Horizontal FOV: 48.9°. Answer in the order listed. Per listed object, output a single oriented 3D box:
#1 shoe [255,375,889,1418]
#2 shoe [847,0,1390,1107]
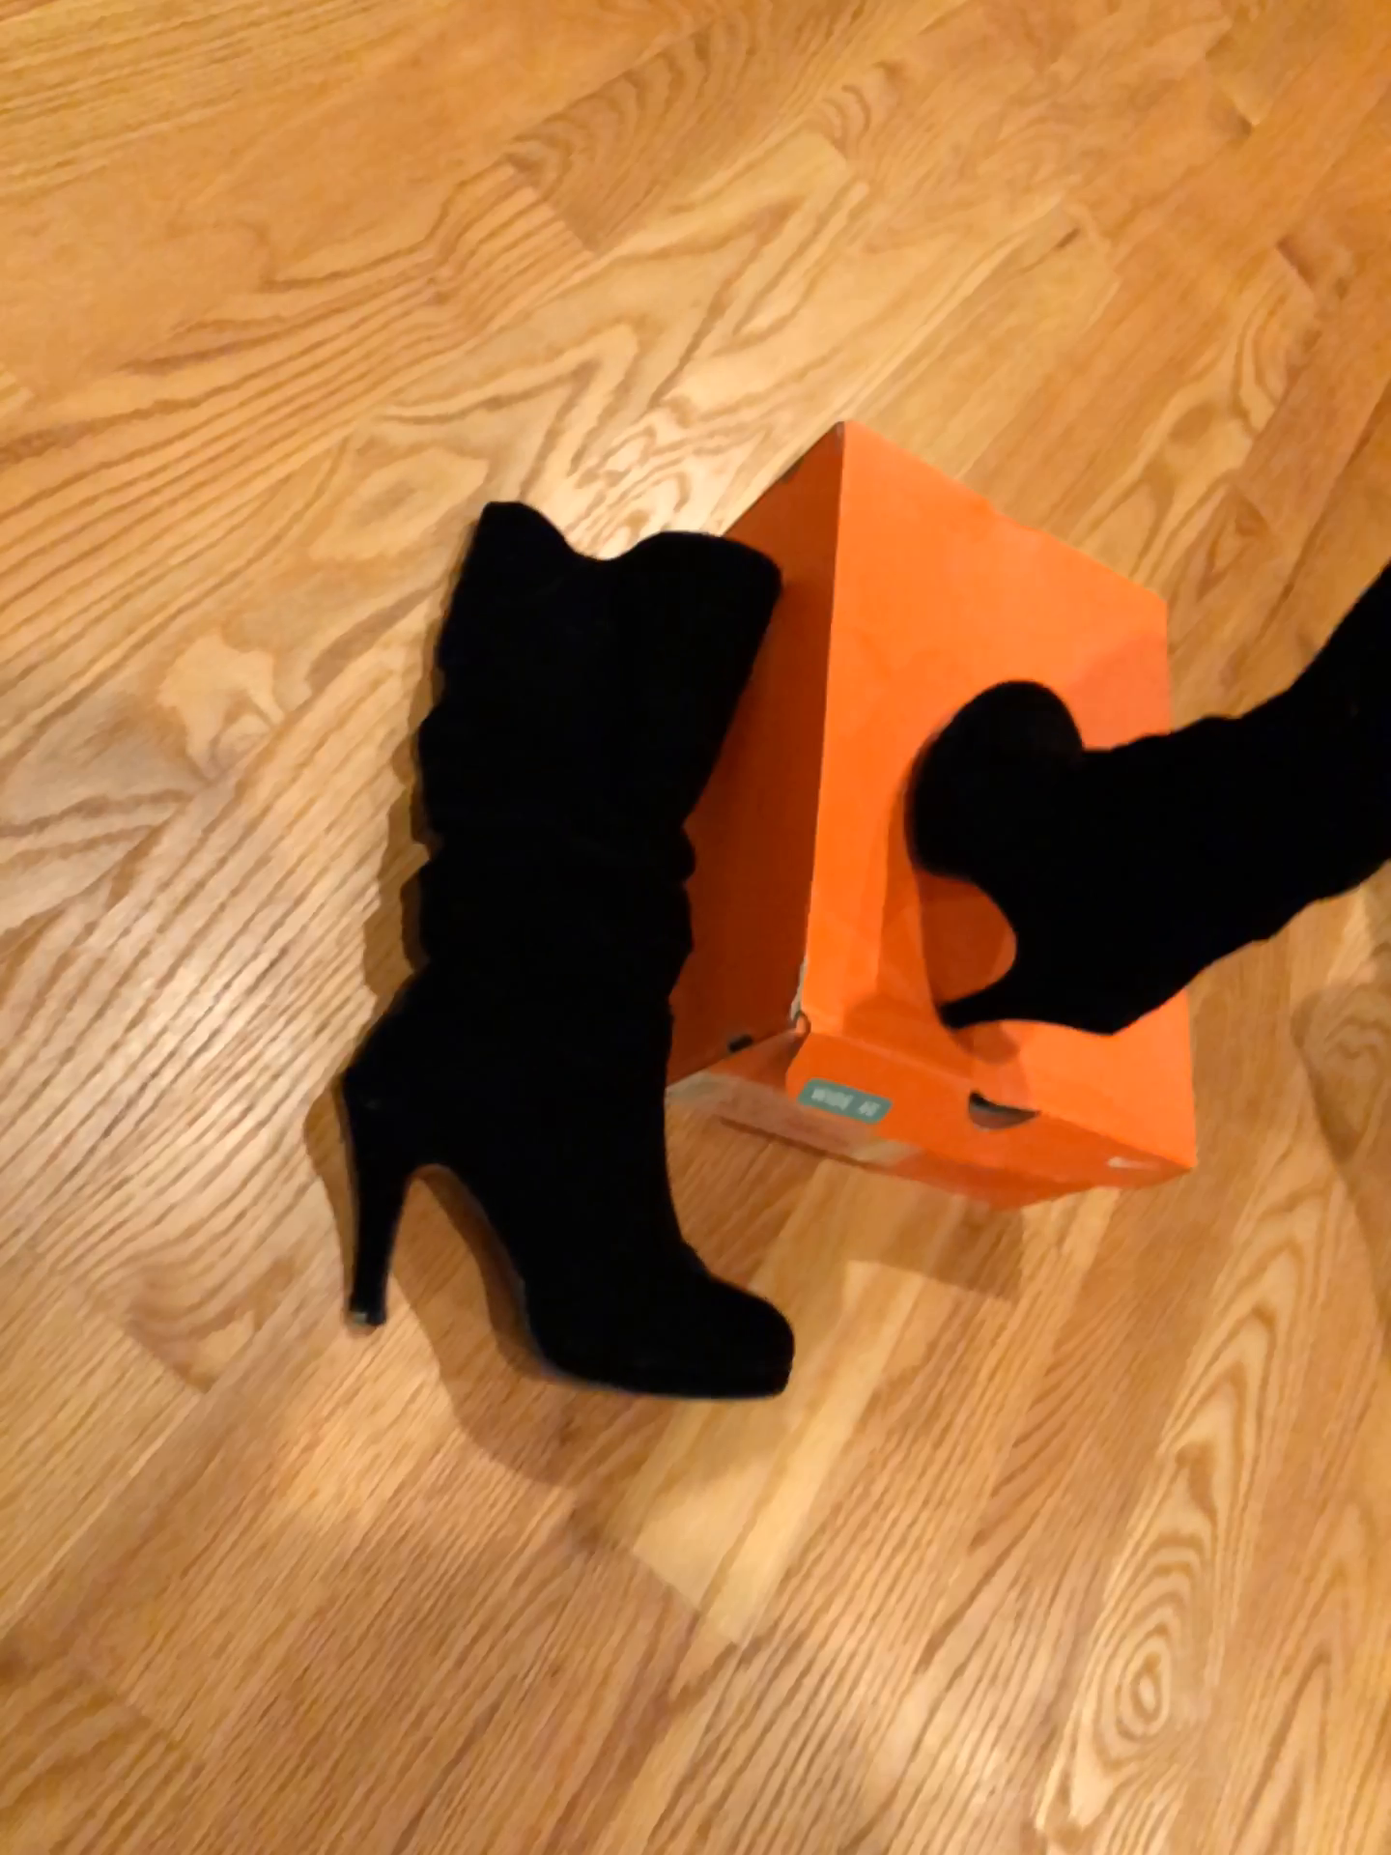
[{"bbox_3d":[-0.032,-0.017,0.655,0.206,0.089,0.400,19,60,-25],"label":"shoe"},{"bbox_3d":[0.222,-0.100,0.535,0.089,0.397,0.217,25,58,-24],"label":"shoe"}]
